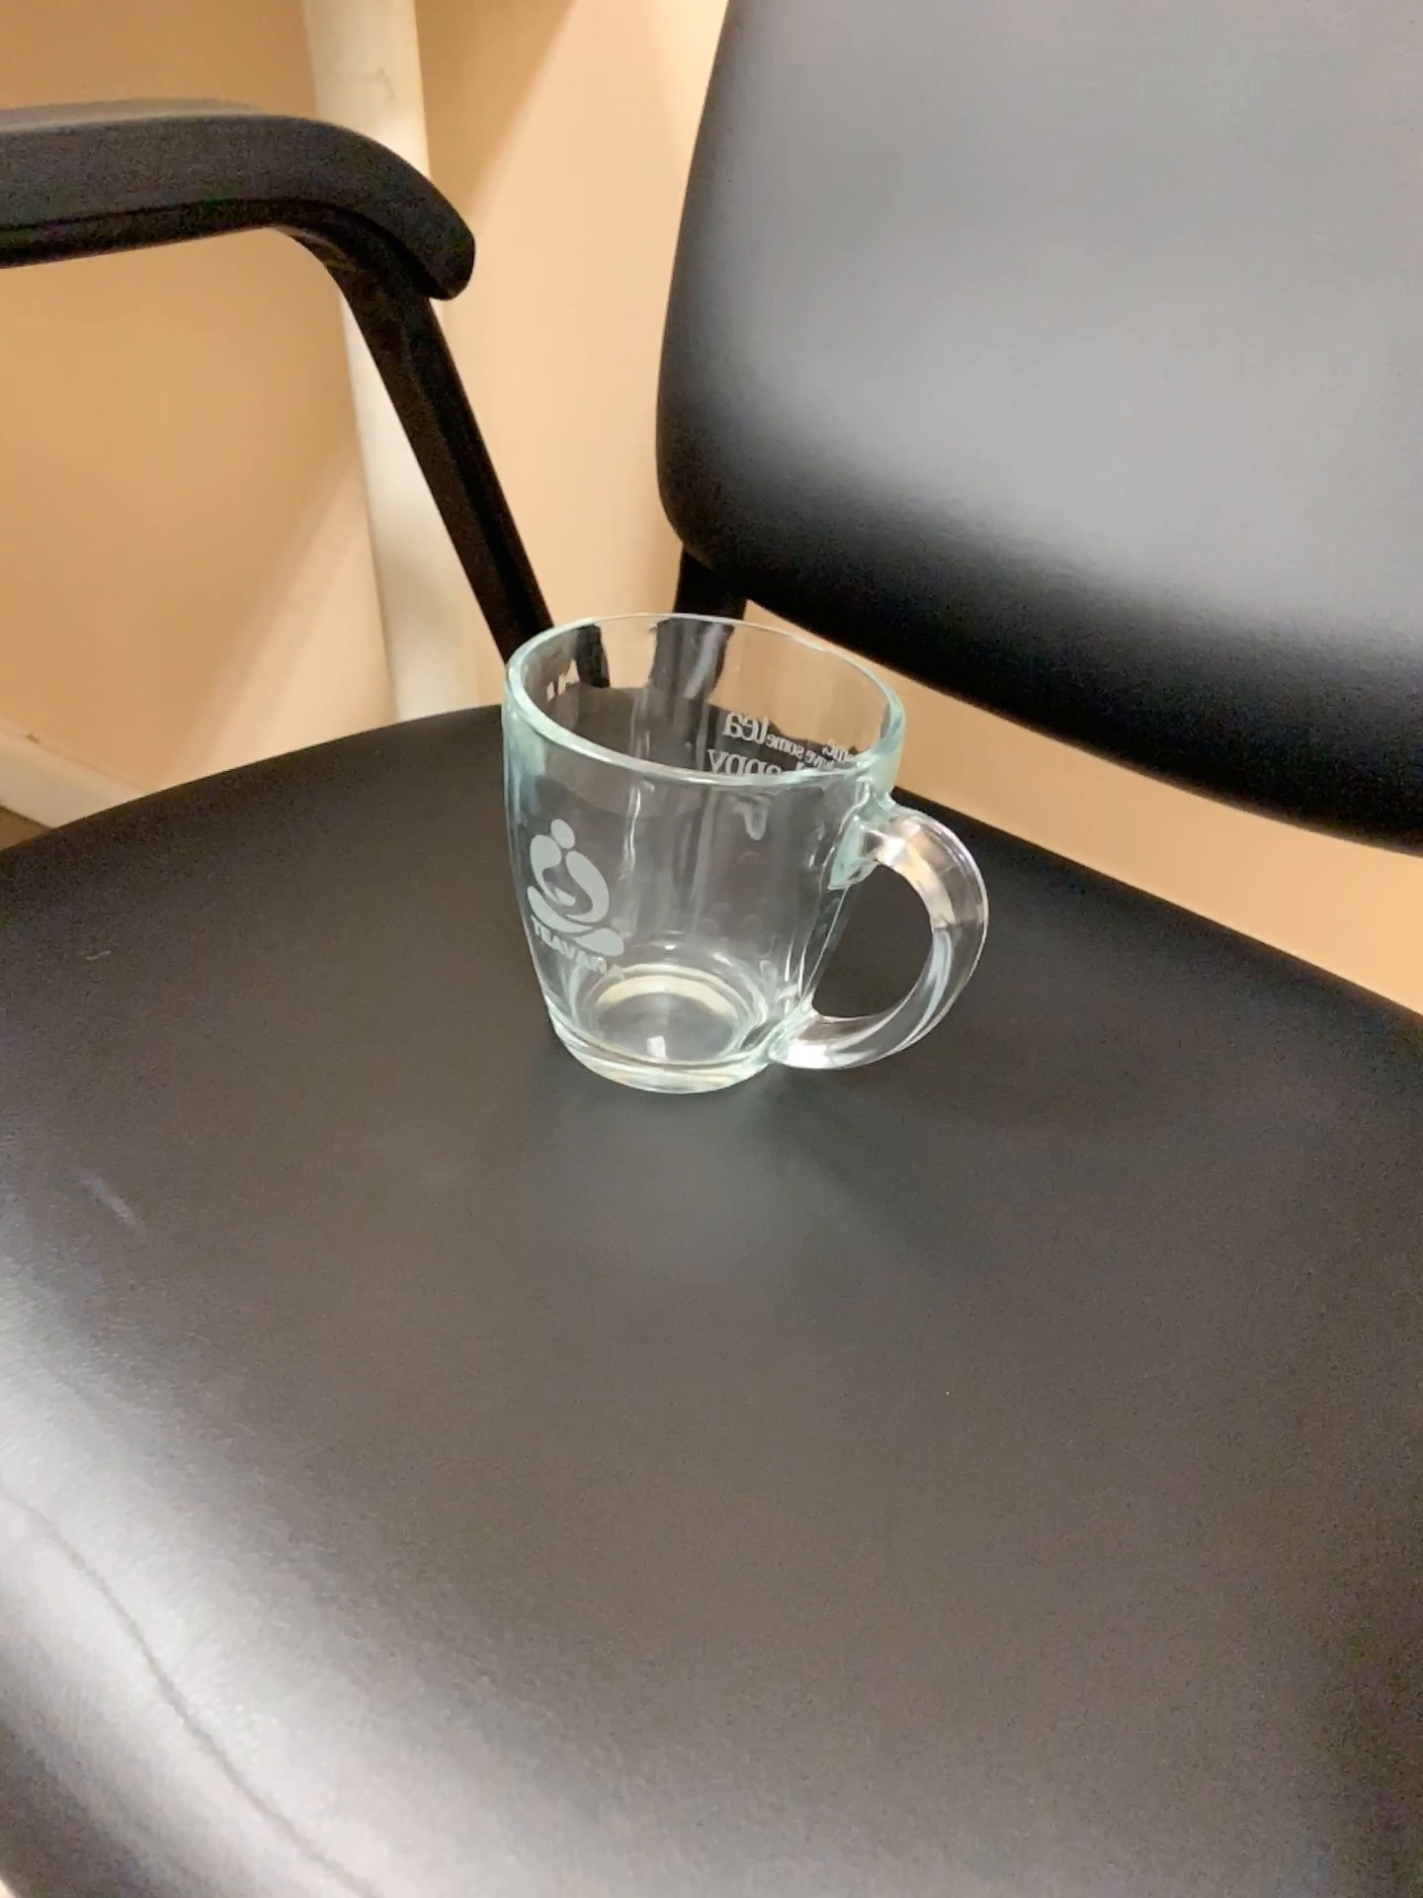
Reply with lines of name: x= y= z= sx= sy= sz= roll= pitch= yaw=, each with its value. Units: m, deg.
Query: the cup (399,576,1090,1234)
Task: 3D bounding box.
cup: x=0.004 y=-0.020 z=0.379 sx=0.140 sy=0.100 sz=0.096 roll=23 pitch=35 yaw=24
